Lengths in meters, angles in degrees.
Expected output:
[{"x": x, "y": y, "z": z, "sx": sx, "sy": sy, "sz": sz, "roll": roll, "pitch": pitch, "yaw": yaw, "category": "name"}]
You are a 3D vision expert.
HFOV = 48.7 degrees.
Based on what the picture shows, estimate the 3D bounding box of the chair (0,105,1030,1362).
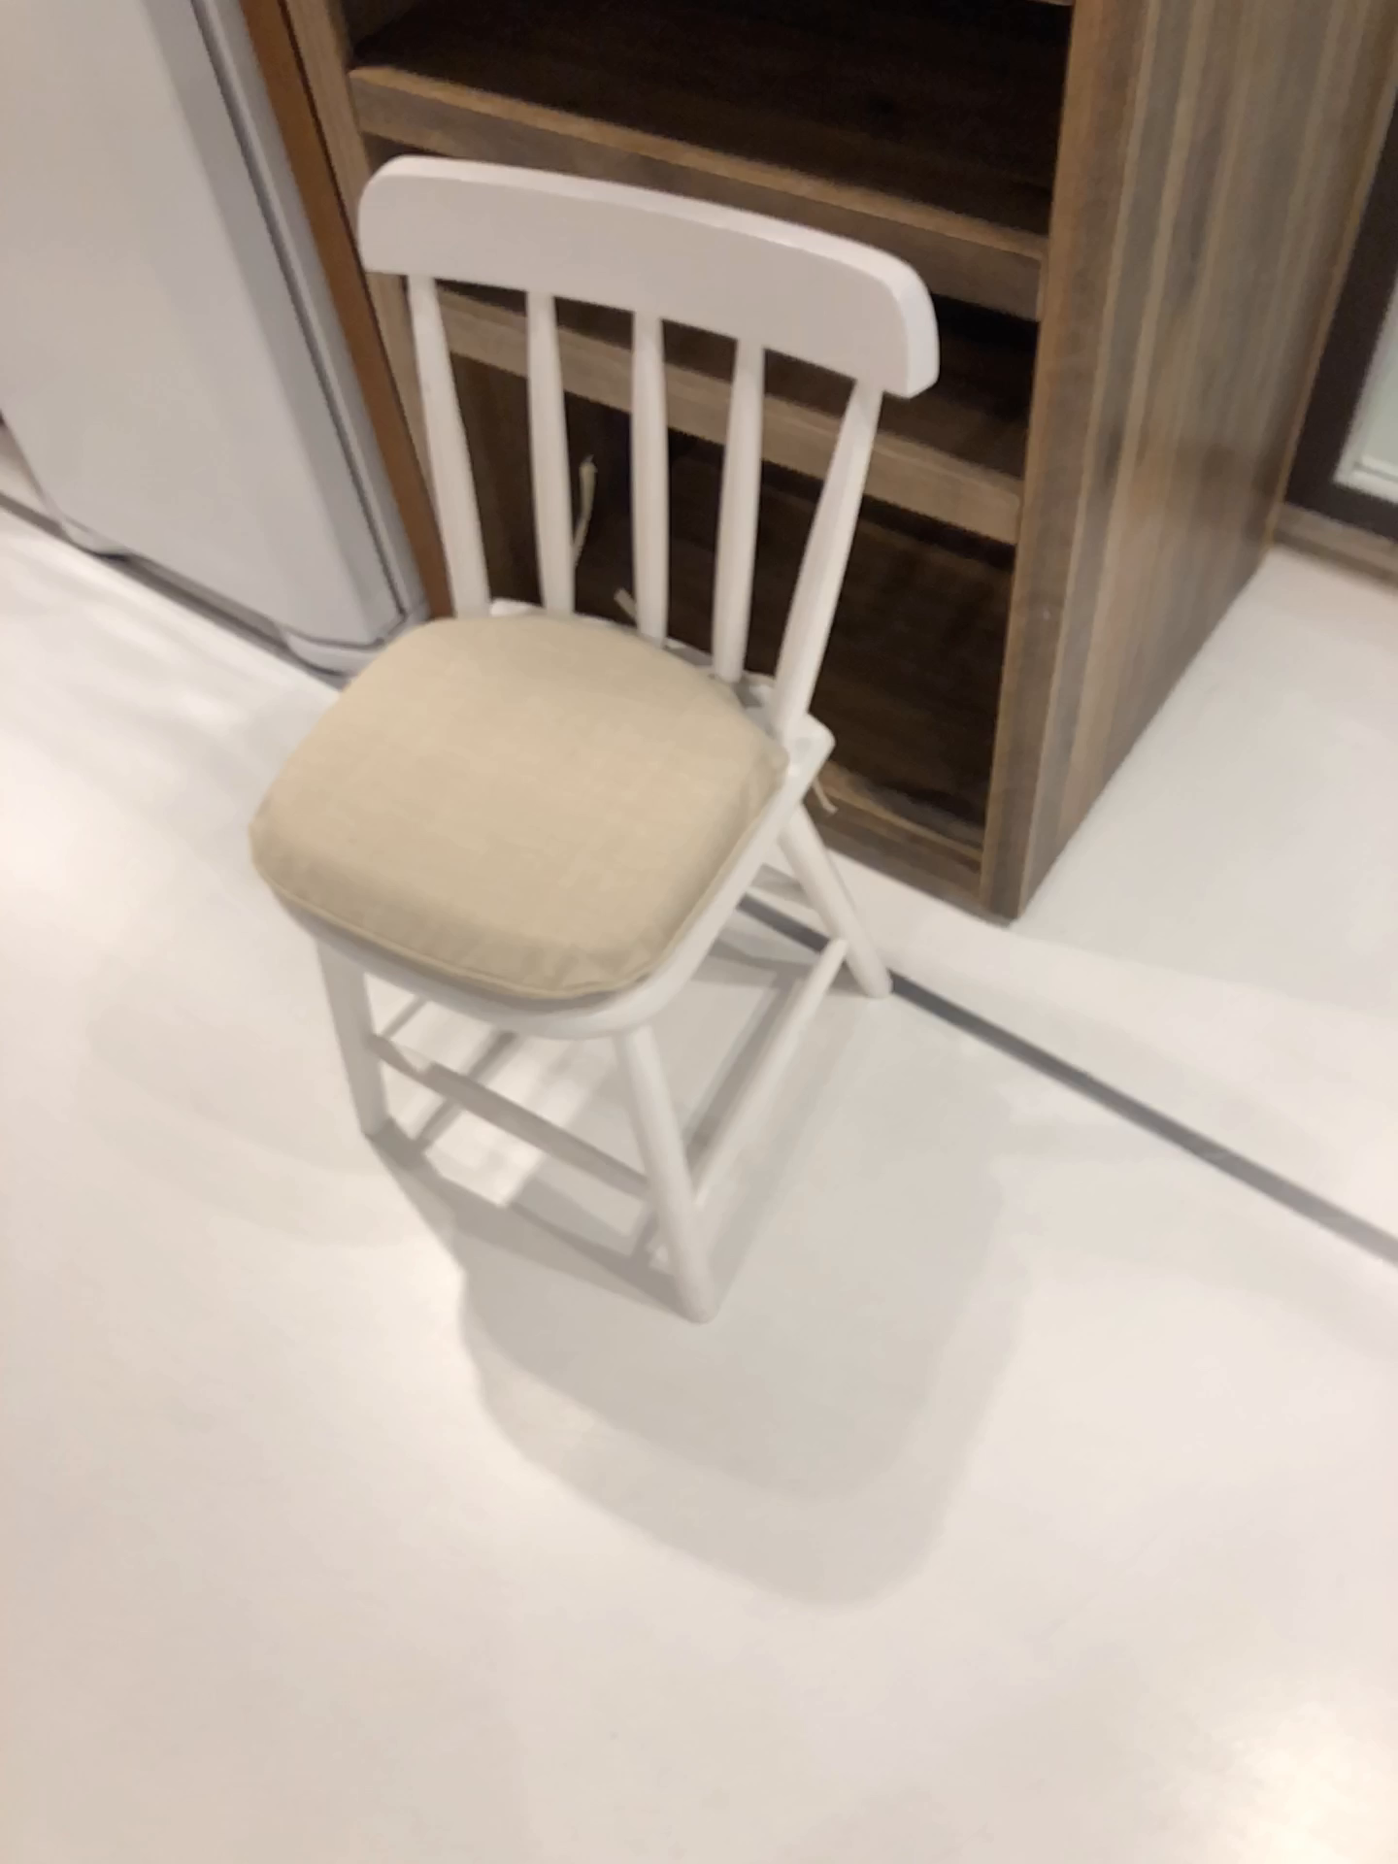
[{"x": -0.090, "y": -0.110, "z": 1.188, "sx": 0.451, "sy": 0.726, "sz": 0.482, "roll": 25, "pitch": 61, "yaw": 21, "category": "chair"}]
